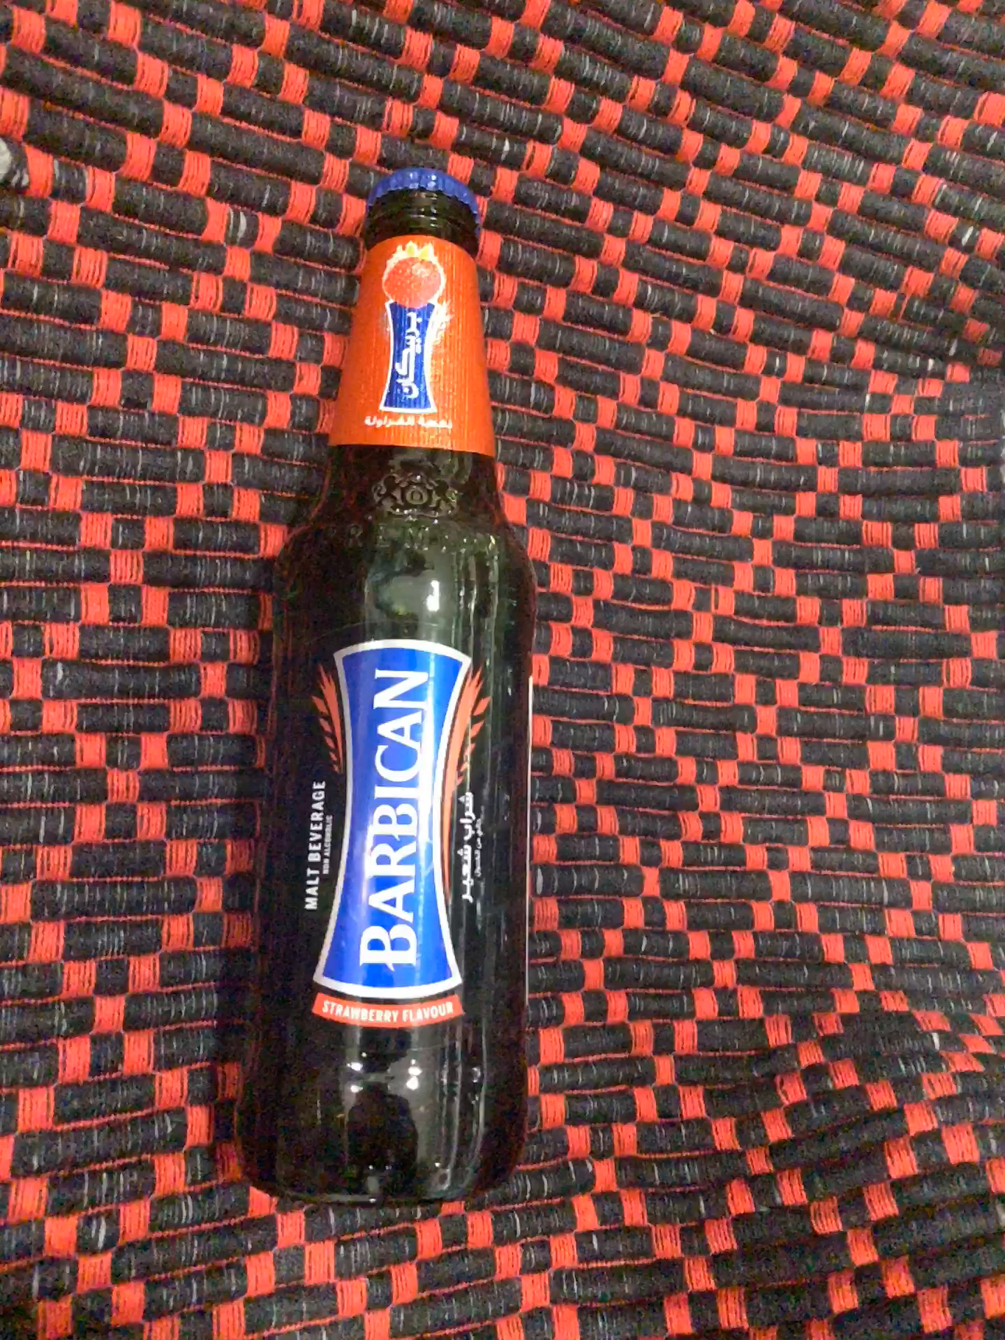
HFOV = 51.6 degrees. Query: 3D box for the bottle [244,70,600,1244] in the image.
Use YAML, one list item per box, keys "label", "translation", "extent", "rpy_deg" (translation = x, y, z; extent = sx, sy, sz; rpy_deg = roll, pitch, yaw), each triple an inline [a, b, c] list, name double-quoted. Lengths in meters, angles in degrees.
- label: "bottle"
  translation: [-0.019, -0.007, 0.230]
  extent: [0.060, 0.070, 0.220]
  rpy_deg: [2, 79, -9]
